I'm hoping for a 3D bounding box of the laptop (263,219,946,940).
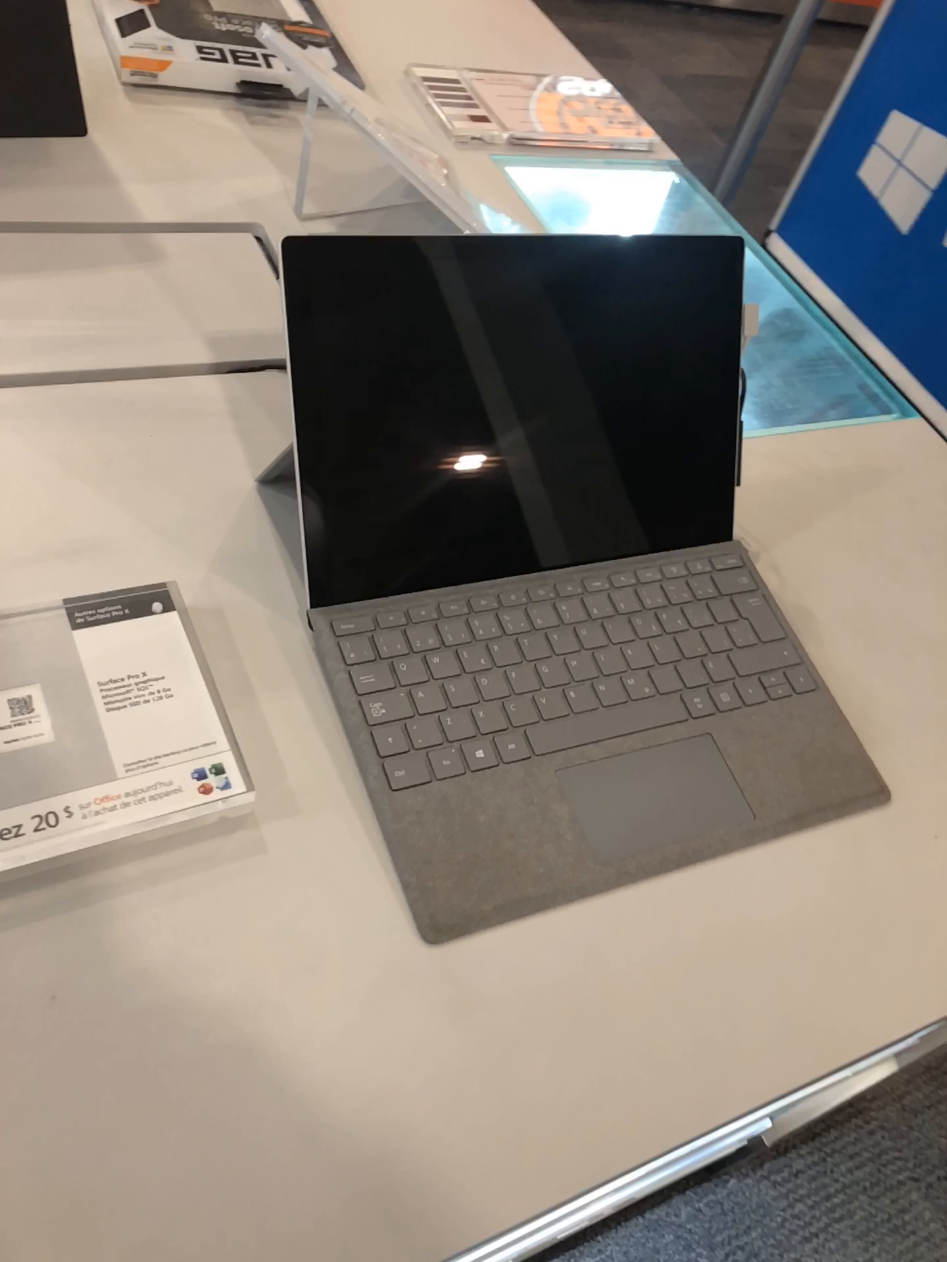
[{"bbox_3d":[0.071,-0.053,0.541,0.279,0.147,0.298,-10,58,-25],"label":"laptop"}]
